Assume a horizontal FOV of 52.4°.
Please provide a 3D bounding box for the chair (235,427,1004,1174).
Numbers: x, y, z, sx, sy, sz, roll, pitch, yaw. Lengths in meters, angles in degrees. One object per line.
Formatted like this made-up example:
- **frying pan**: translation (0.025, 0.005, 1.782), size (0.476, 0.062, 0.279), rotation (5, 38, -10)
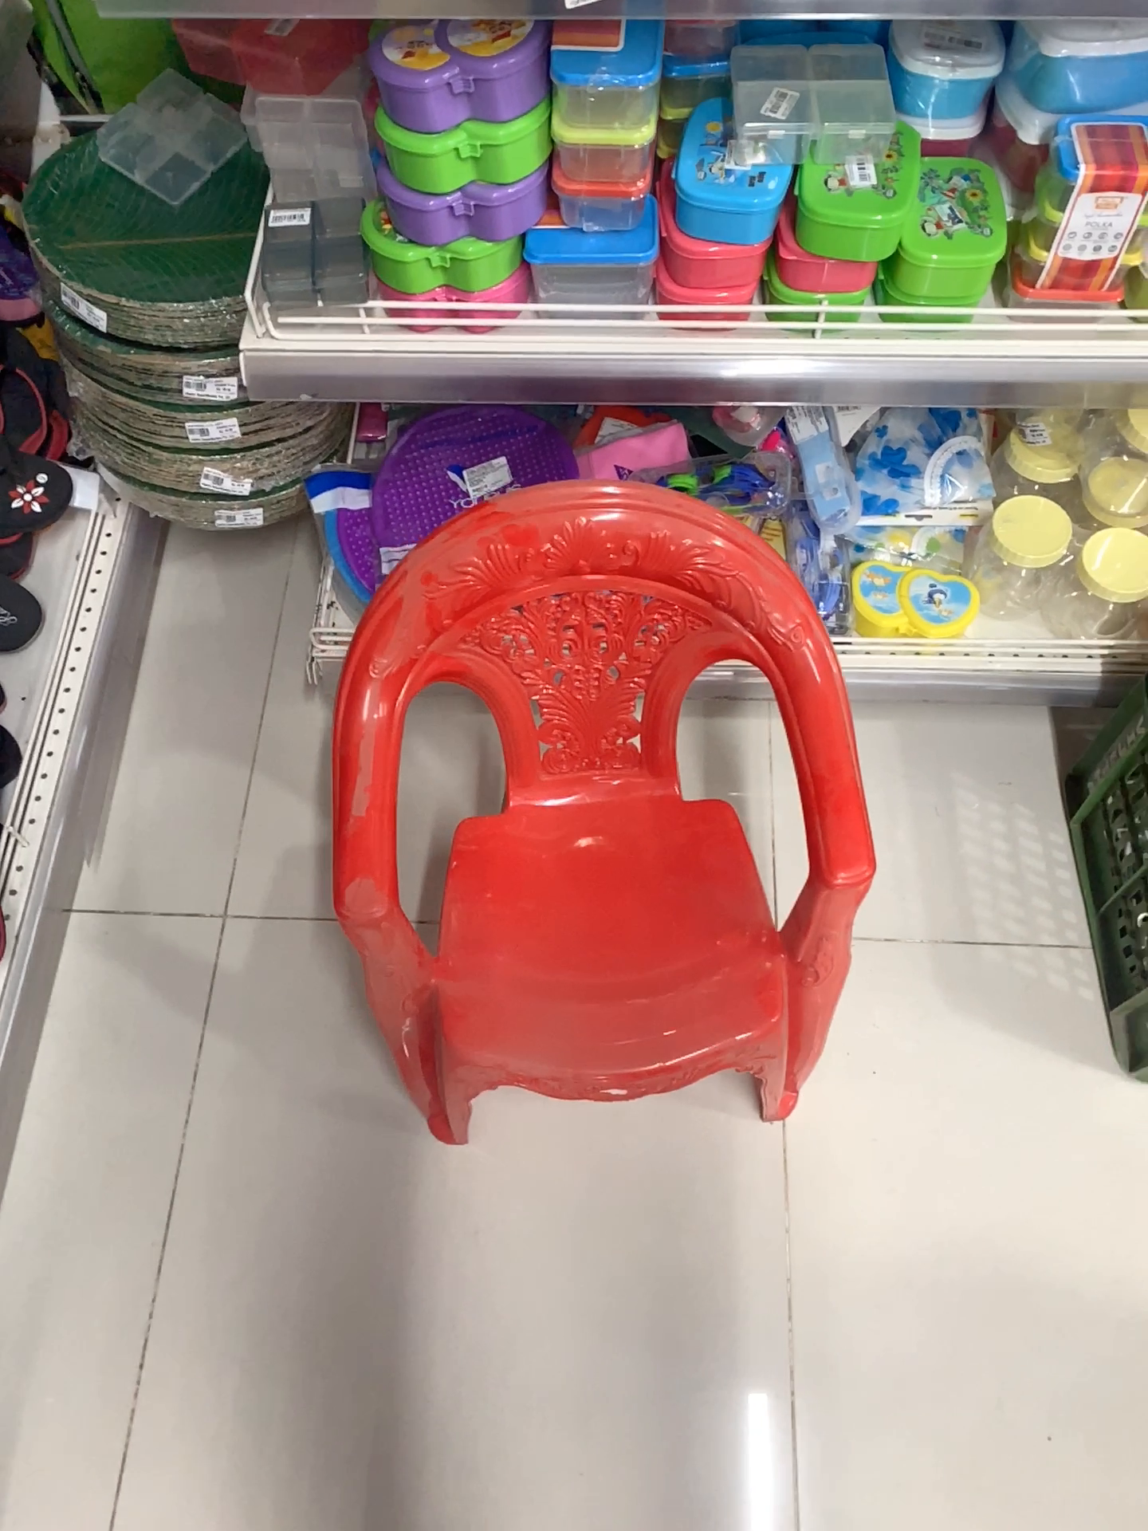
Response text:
- **chair**: translation (0.023, 0.072, 0.936), size (0.410, 0.499, 0.410), rotation (-3, 64, 1)
